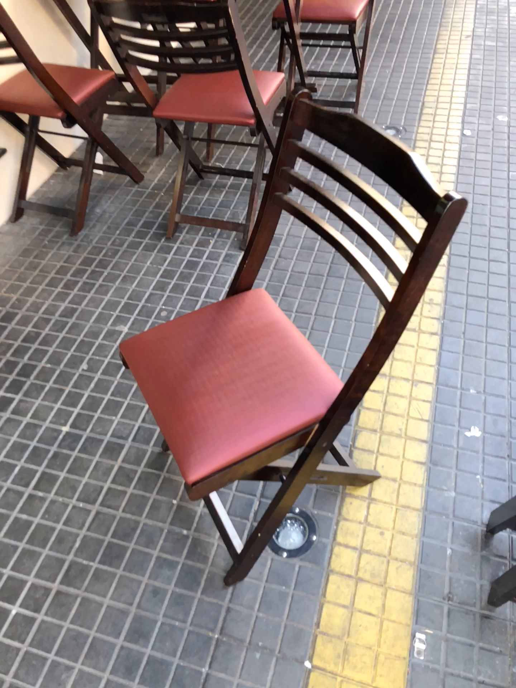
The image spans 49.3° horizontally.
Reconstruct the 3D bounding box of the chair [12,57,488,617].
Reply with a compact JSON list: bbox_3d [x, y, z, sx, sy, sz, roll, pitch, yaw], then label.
[{"bbox_3d":[-0.013,0.030,1.085,0.481,0.844,0.513,-24,50,-14],"label":"chair"}]
